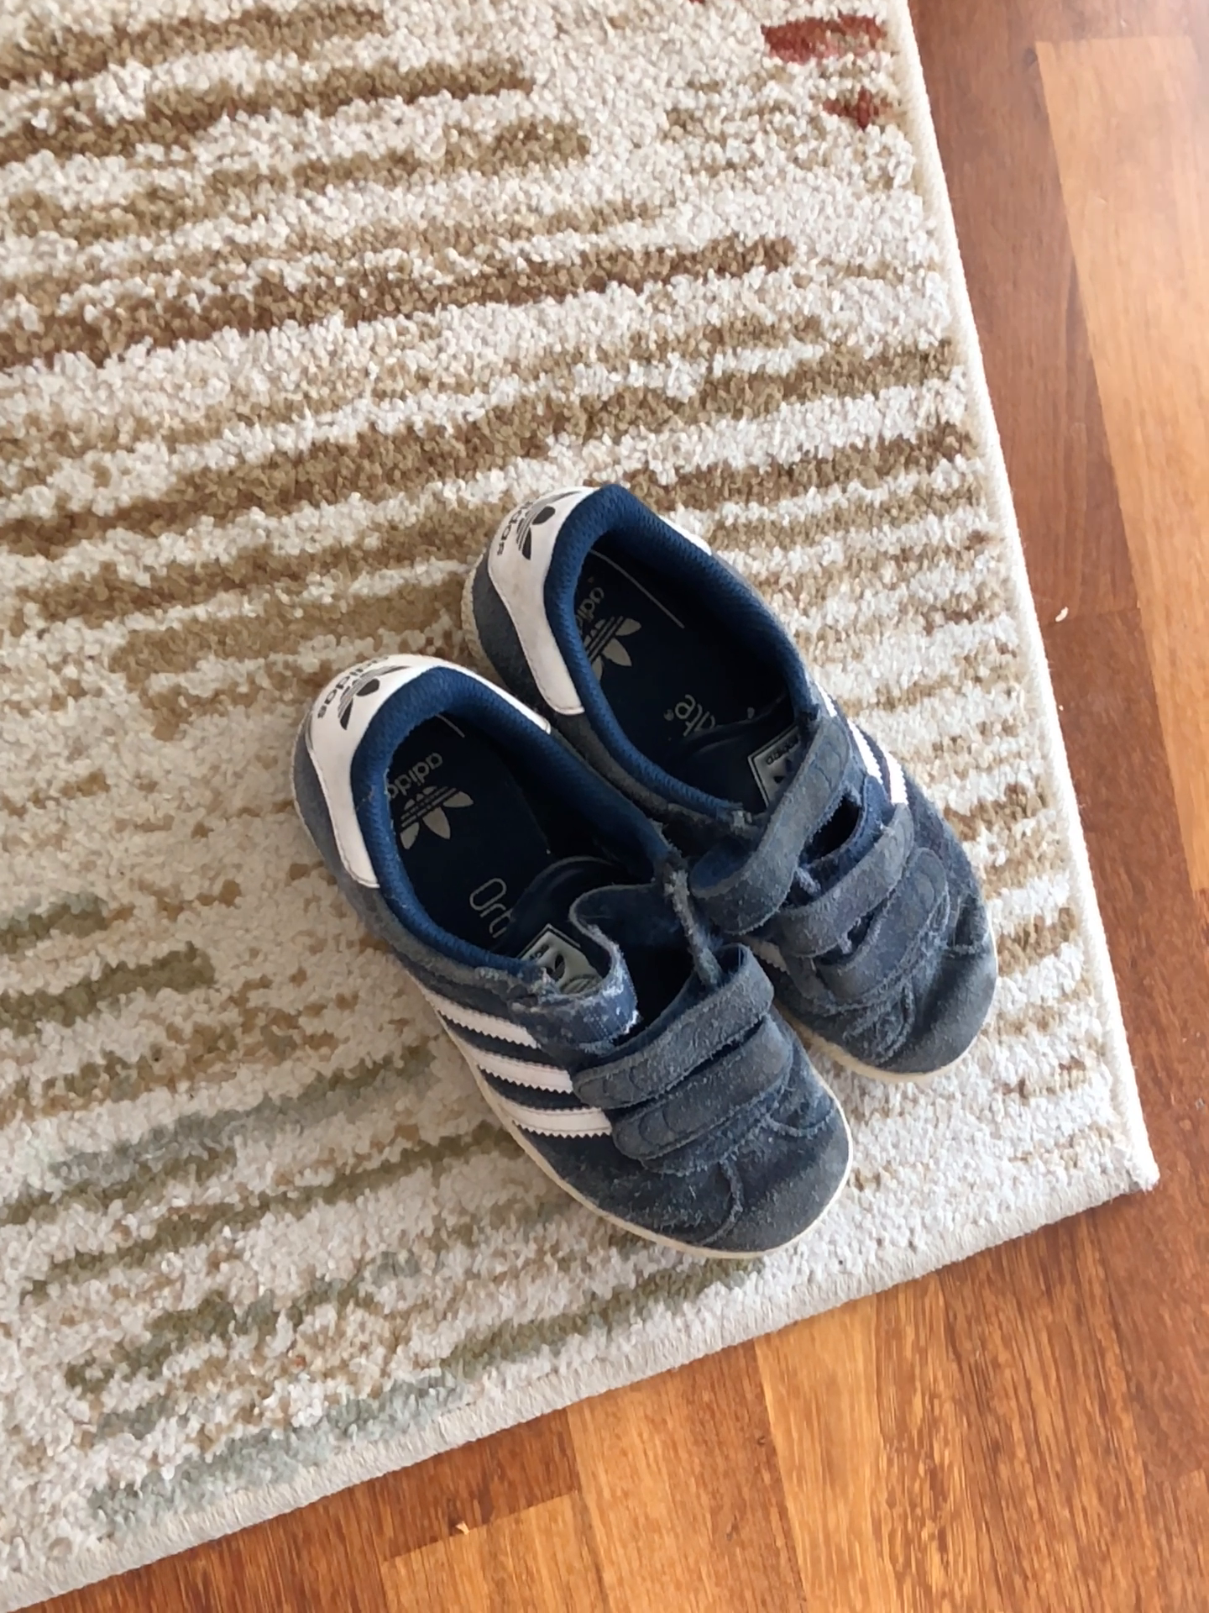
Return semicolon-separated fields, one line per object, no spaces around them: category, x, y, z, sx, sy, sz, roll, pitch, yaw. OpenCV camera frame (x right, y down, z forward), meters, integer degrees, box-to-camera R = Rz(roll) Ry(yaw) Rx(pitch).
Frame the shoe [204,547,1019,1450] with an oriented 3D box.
shoe;0.003;0.050;0.346;0.084;0.053;0.216;-41;100;-13

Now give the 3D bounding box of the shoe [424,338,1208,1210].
shoe;0.059;-0.005;0.362;0.086;0.052;0.219;-43;100;-12
